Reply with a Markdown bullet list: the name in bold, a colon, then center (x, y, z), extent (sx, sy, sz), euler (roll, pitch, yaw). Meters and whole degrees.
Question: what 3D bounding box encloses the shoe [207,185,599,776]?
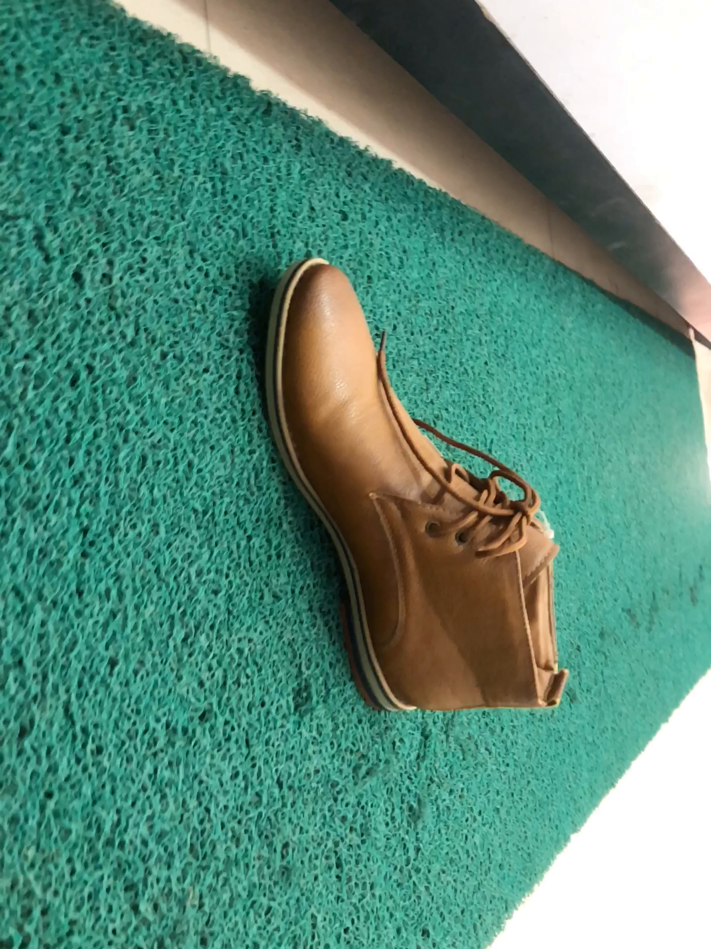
- **shoe**: center (0.042, 0.005, 0.469), extent (0.121, 0.109, 0.310), euler (-36, 112, -53)
